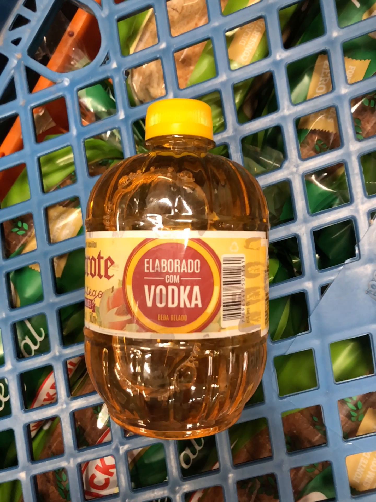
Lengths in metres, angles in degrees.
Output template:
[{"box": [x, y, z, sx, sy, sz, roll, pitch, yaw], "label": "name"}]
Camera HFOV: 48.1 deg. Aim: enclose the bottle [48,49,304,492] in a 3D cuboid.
[{"box": [-0.006, 0.005, 0.177, 0.080, 0.070, 0.130, 2, 93, 45], "label": "bottle"}]
